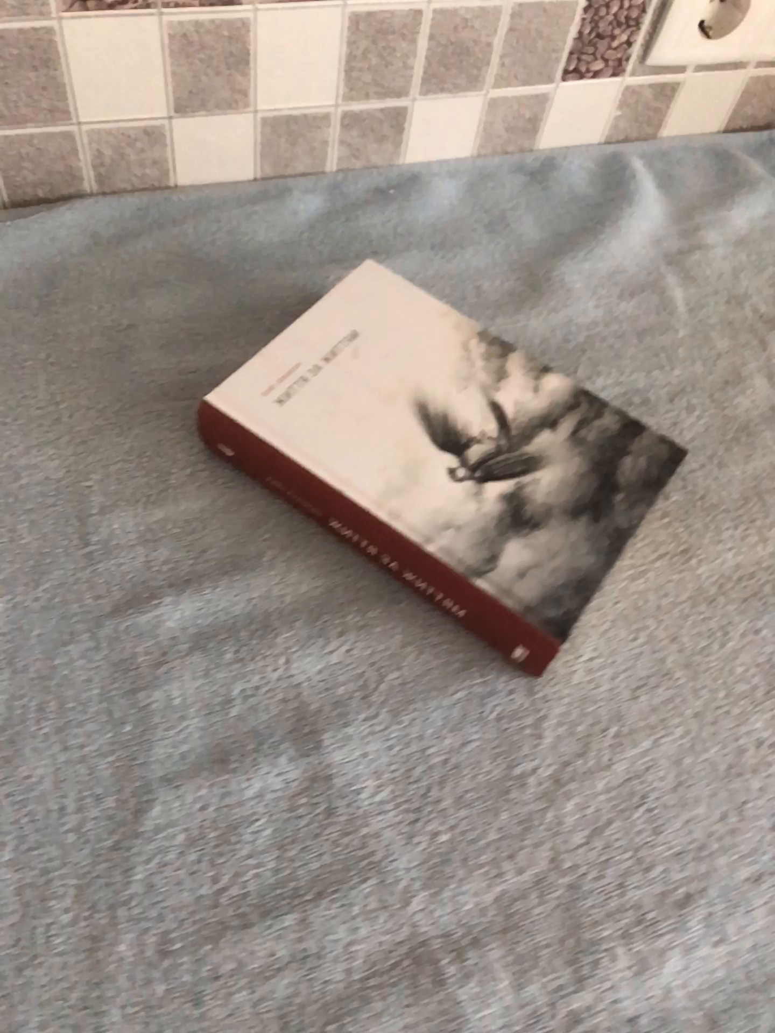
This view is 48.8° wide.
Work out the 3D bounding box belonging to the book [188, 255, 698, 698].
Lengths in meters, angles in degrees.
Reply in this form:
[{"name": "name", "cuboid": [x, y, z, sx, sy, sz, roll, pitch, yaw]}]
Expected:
[{"name": "book", "cuboid": [0.031, -0.034, 0.460, 0.220, 0.040, 0.156, 34, 59, 12]}]
